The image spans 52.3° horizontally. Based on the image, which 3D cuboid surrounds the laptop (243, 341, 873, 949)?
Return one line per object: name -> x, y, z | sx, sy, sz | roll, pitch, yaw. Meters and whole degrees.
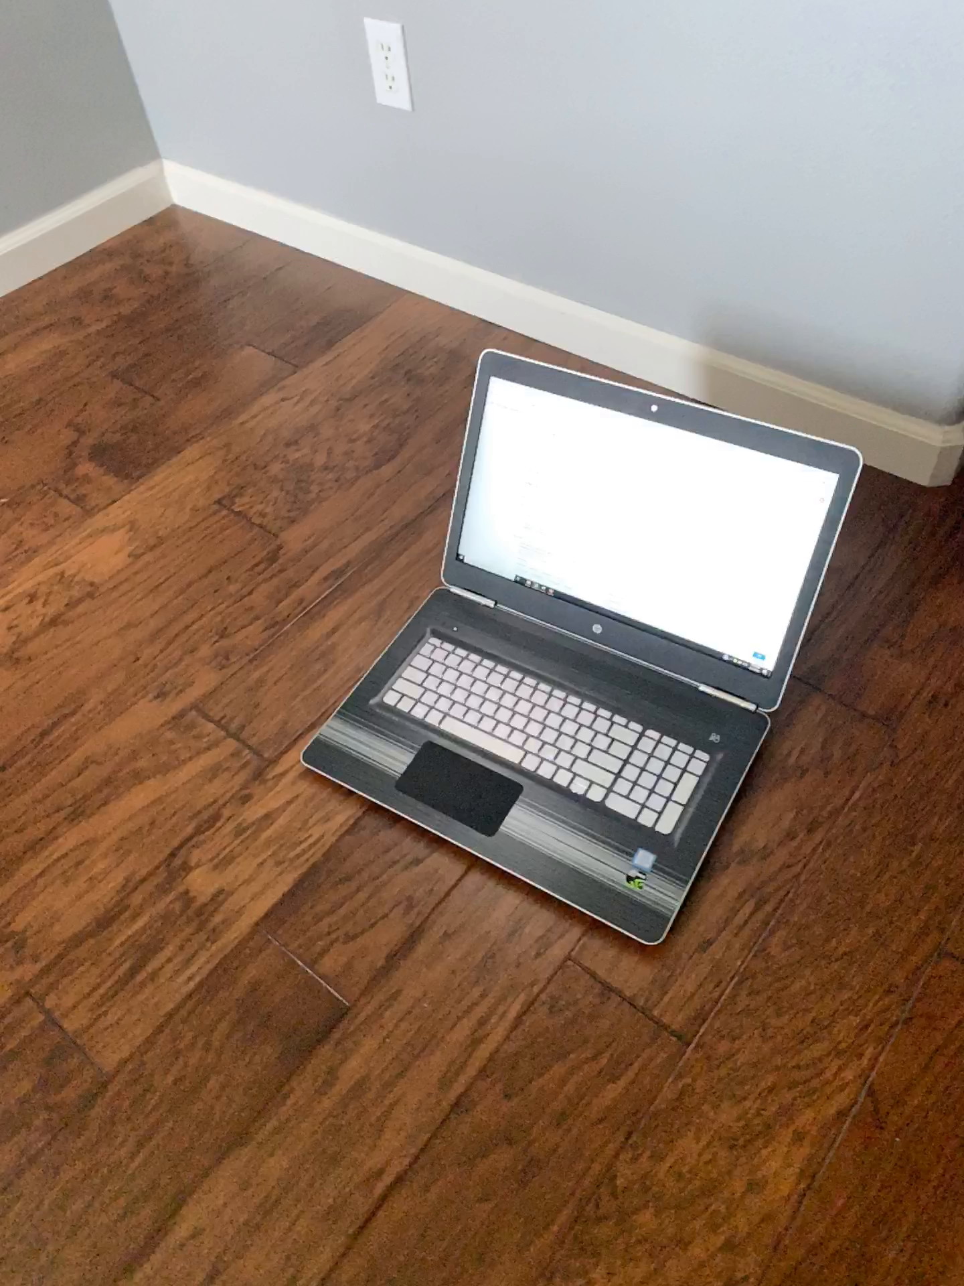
laptop -> 0.085, -0.029, 0.958 | 0.411, 0.233, 0.424 | 22, 56, 23
